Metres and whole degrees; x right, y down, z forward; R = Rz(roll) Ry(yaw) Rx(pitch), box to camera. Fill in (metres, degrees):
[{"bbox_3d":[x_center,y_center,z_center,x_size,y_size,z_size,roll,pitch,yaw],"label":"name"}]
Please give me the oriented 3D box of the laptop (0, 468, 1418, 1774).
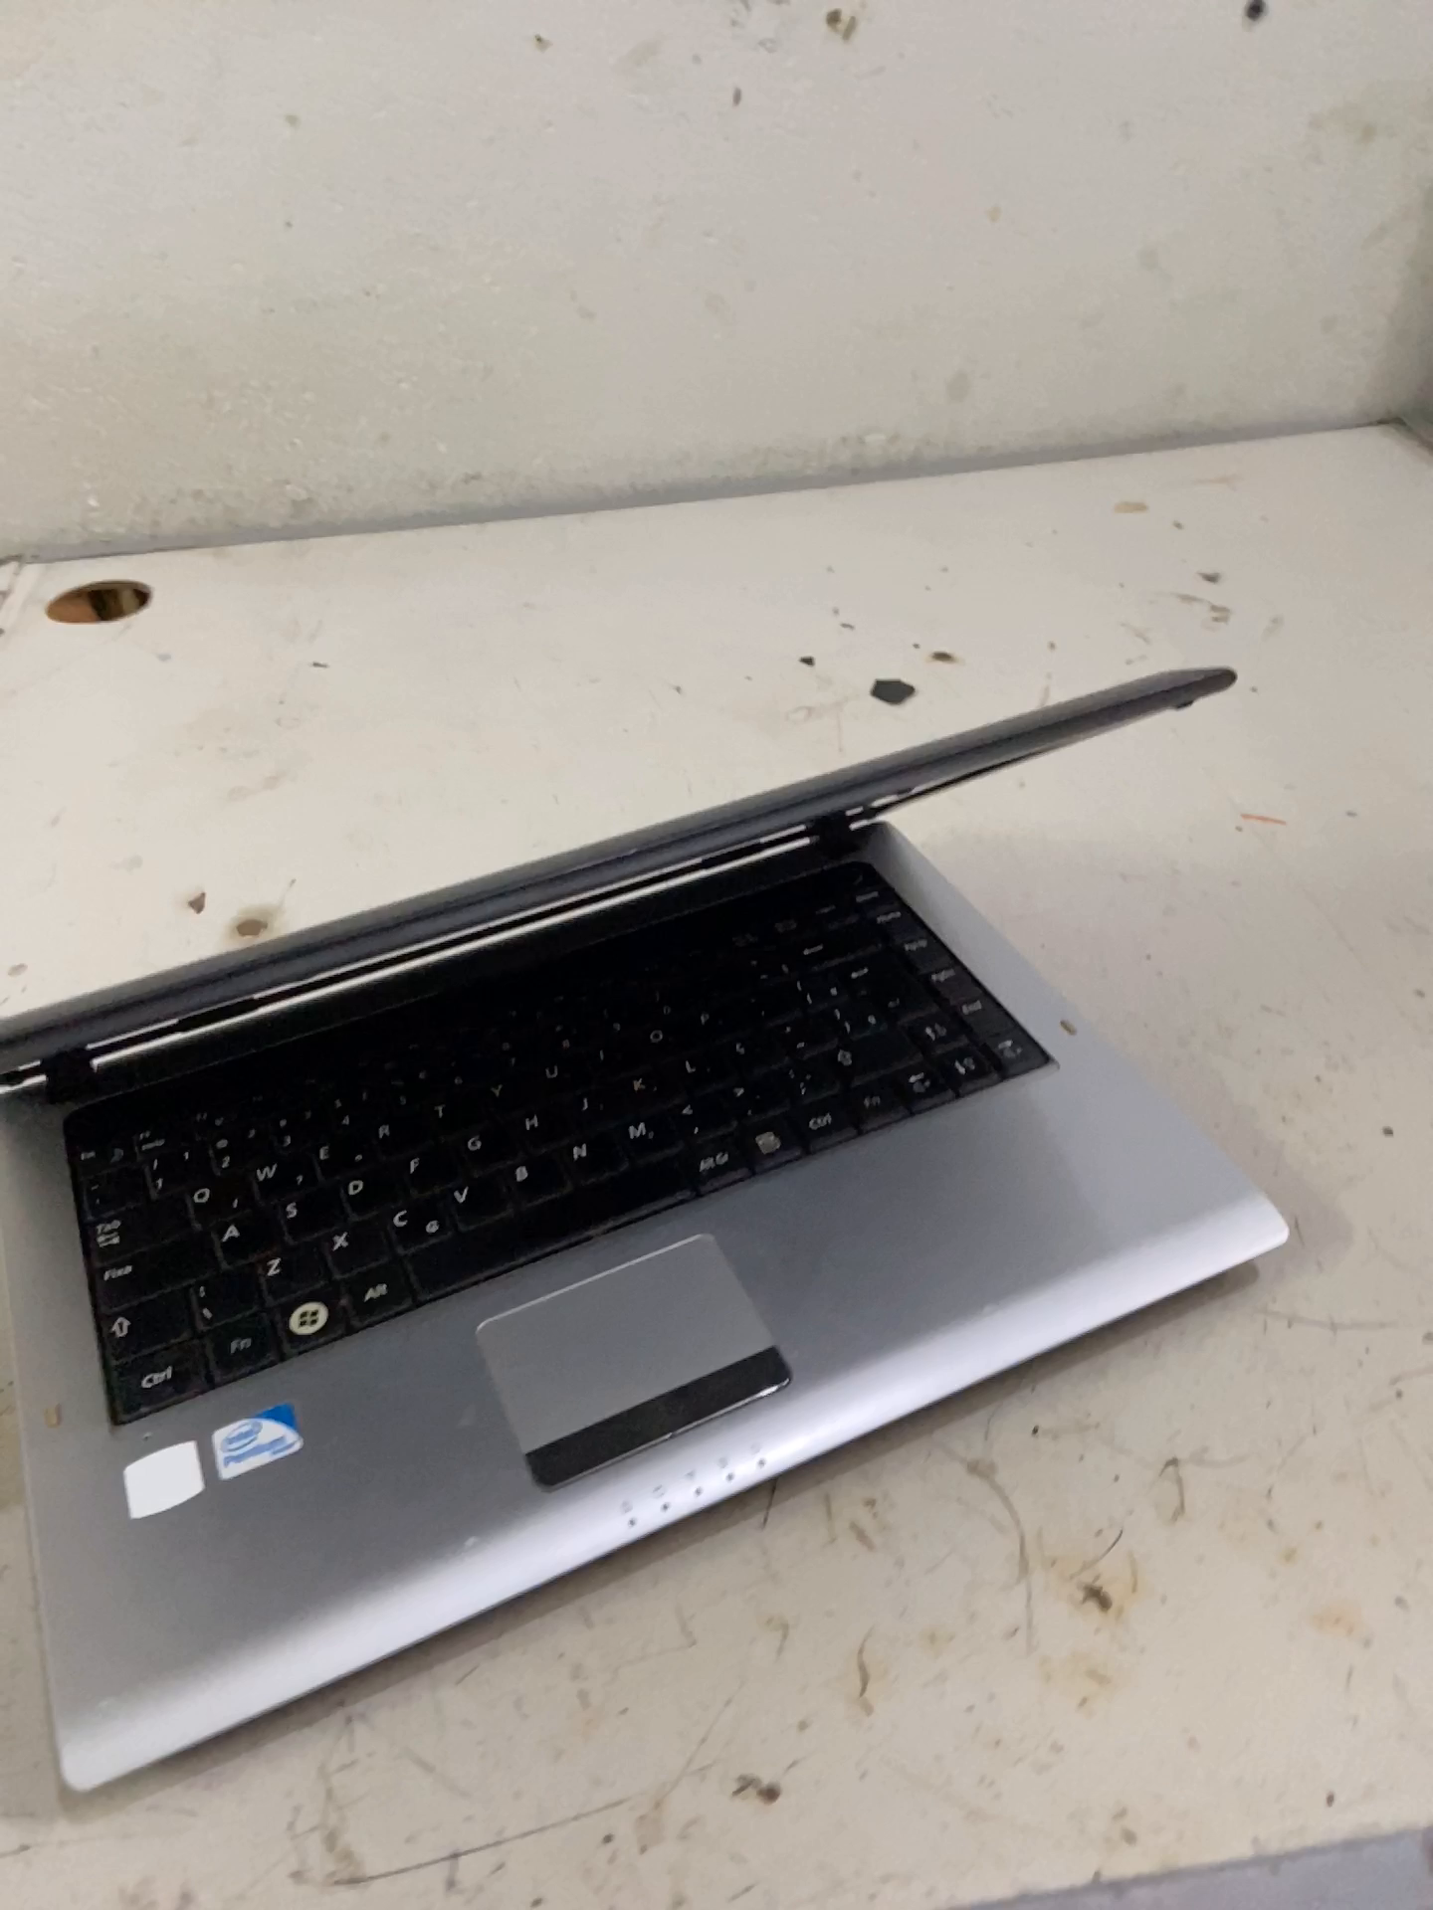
[{"bbox_3d":[-0.038,0.005,0.418,0.334,0.152,0.242,-18,41,-18],"label":"laptop"}]
